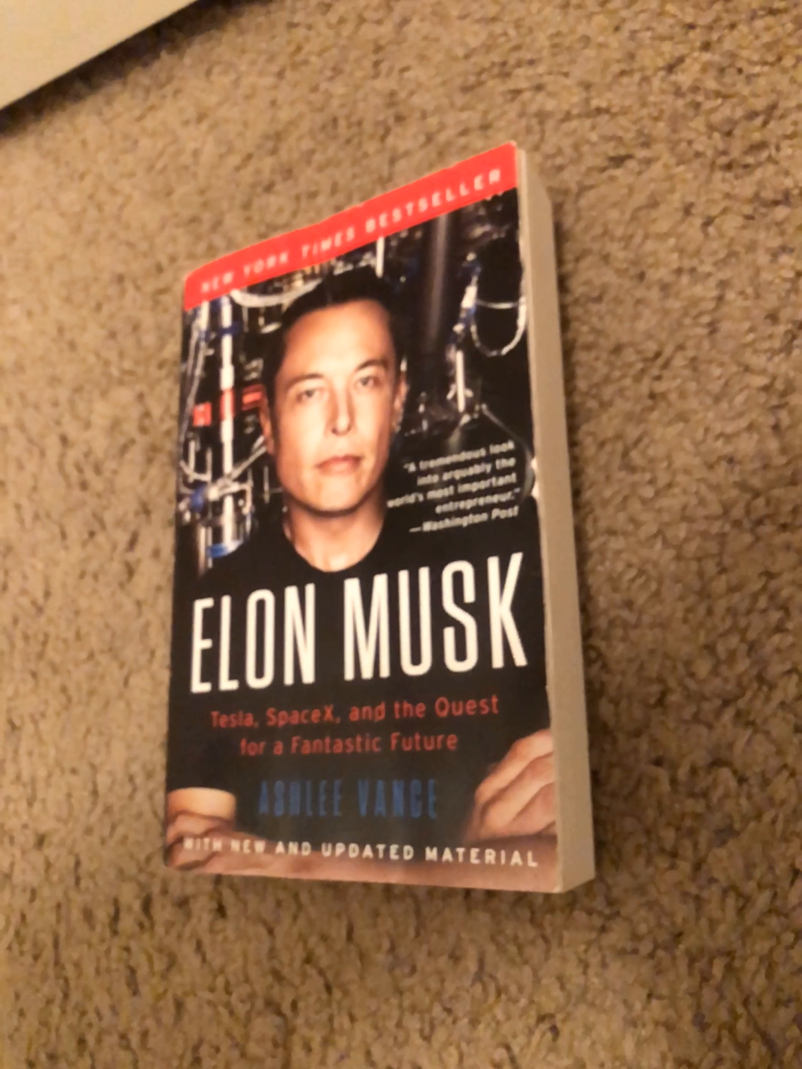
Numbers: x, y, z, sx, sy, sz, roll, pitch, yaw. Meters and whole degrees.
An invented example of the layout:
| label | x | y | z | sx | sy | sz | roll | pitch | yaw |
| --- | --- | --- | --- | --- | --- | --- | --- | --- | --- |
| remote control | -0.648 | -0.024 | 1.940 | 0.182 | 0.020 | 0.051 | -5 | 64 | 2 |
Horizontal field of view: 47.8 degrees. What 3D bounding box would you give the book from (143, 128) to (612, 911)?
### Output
| label | x | y | z | sx | sy | sz | roll | pitch | yaw |
| --- | --- | --- | --- | --- | --- | --- | --- | --- | --- |
| book | -0.014 | -0.001 | 0.276 | 0.136 | 0.033 | 0.202 | -10 | 74 | 32 |
